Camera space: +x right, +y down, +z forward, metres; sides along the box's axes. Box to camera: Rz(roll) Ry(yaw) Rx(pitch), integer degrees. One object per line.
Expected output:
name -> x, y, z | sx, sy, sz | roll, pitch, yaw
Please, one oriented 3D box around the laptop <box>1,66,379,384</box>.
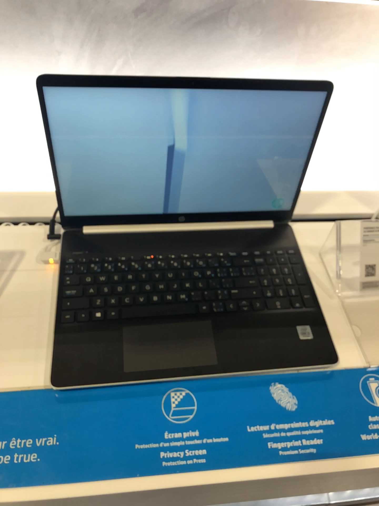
laptop -> 0.010, -0.037, 0.509 | 0.355, 0.221, 0.284 | -2, 53, -8
